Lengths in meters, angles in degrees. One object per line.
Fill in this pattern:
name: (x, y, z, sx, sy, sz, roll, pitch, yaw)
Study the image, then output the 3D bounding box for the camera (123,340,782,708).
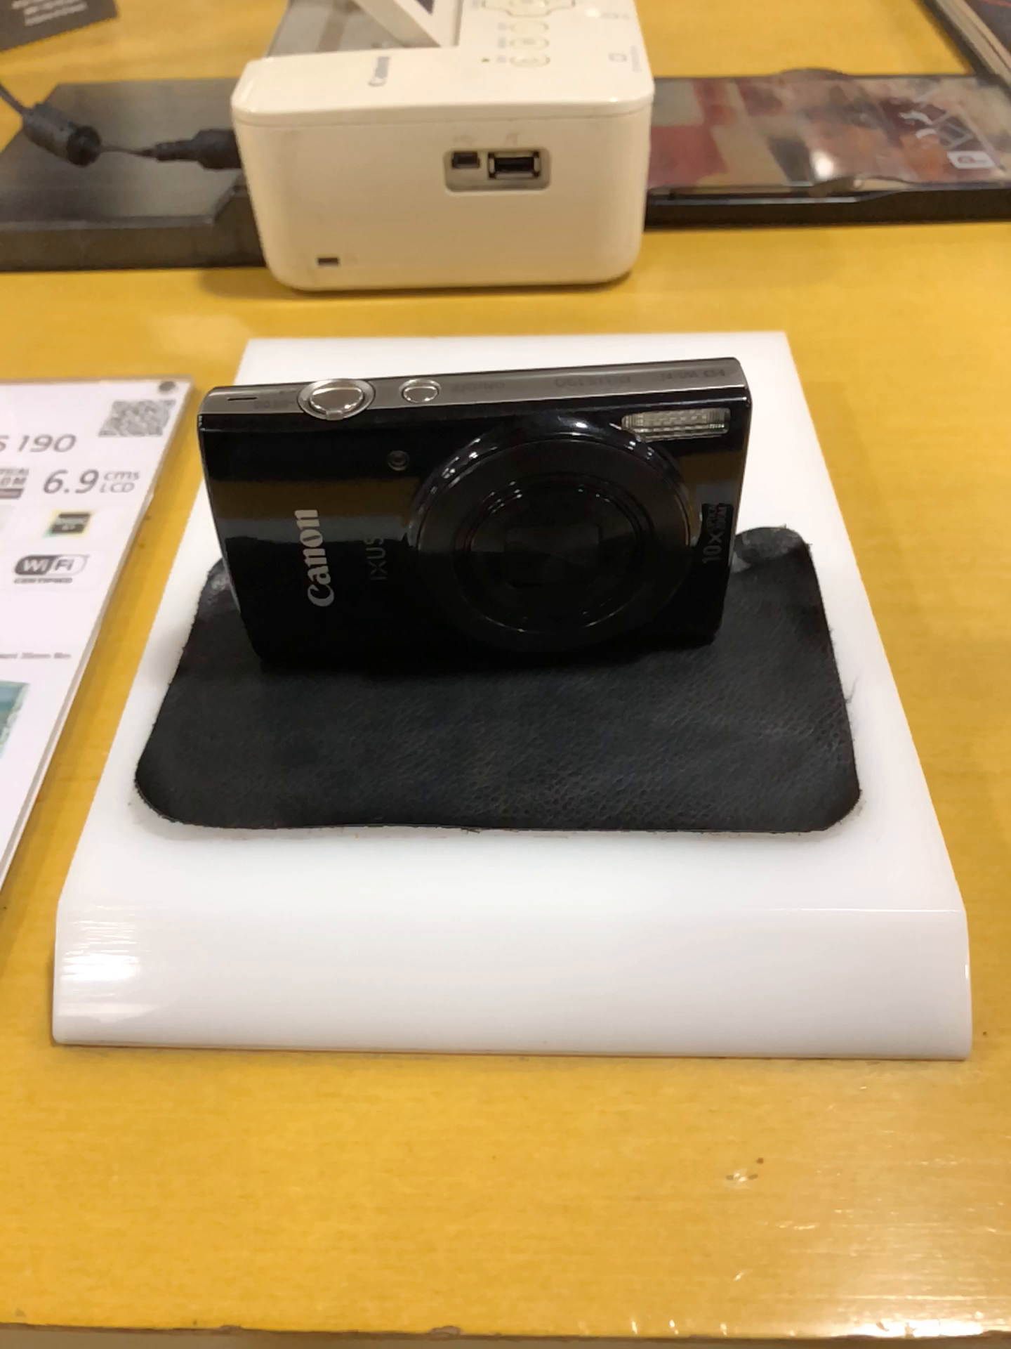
camera: (-0.008, -0.026, 0.200, 0.100, 0.050, 0.030, -4, 46, -2)
